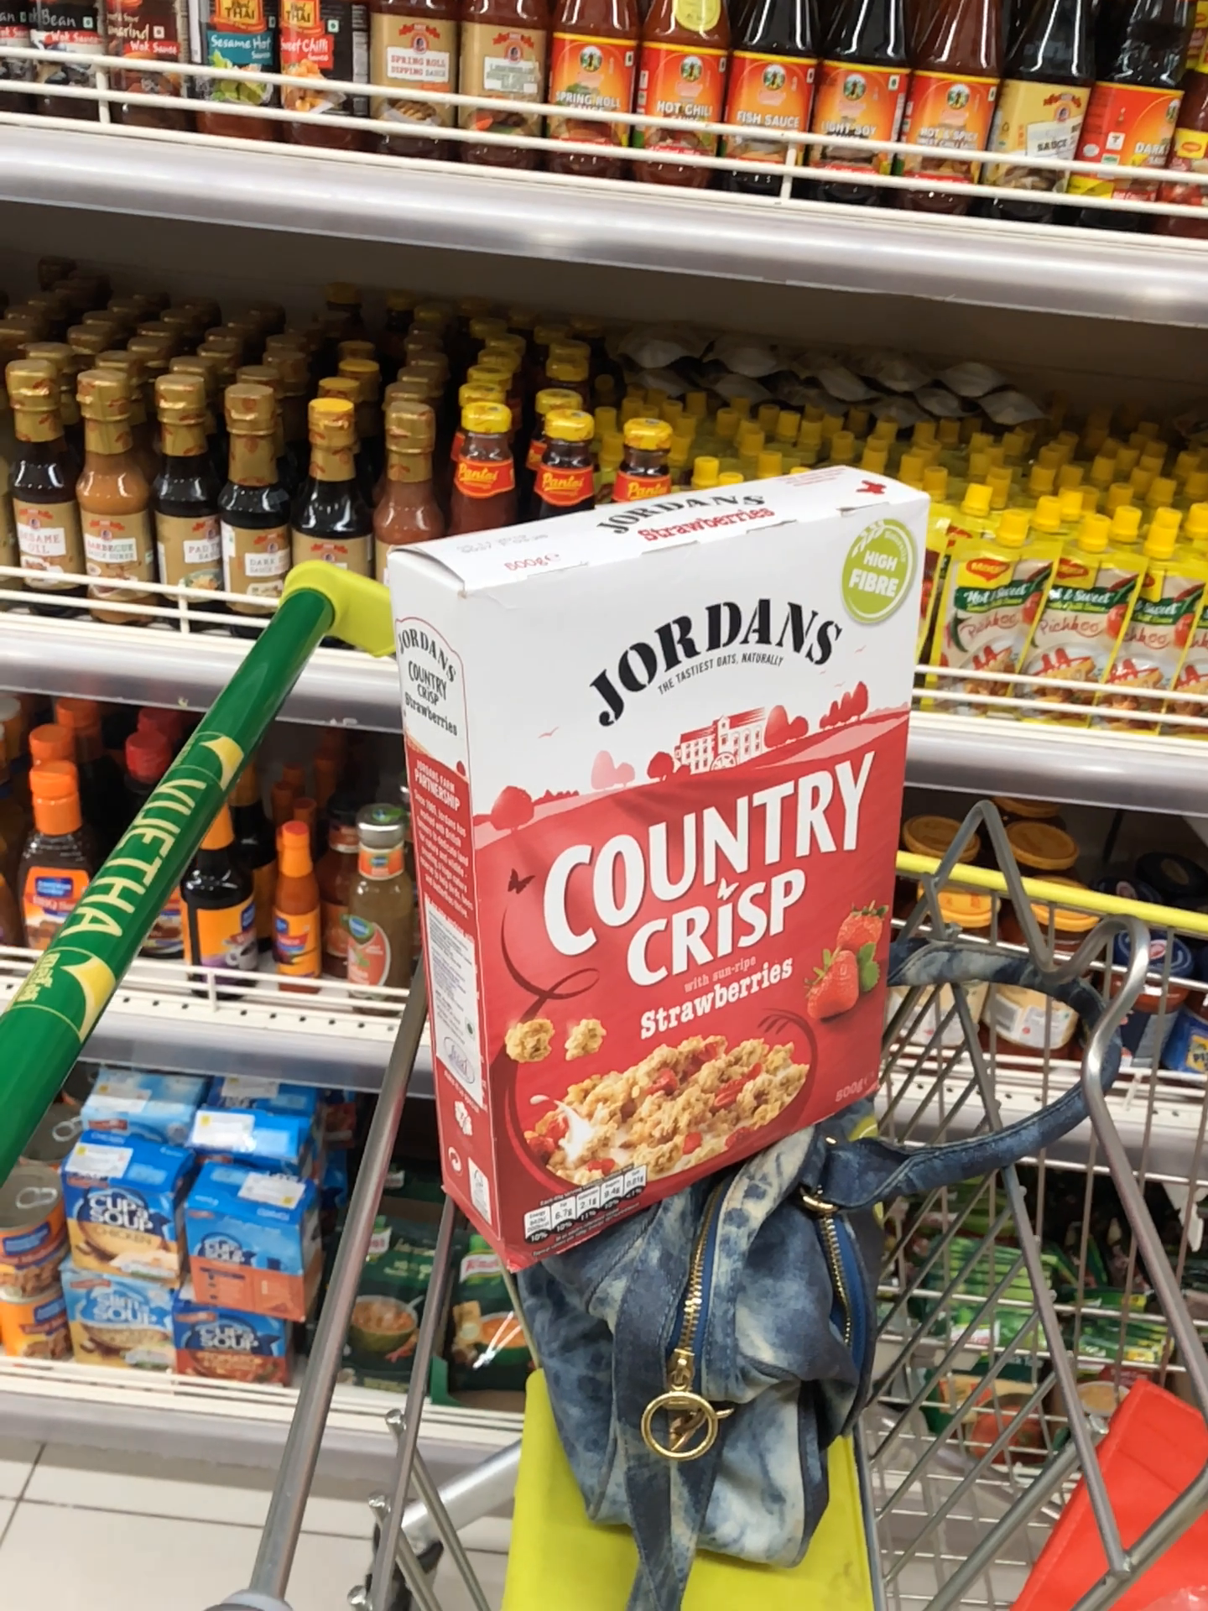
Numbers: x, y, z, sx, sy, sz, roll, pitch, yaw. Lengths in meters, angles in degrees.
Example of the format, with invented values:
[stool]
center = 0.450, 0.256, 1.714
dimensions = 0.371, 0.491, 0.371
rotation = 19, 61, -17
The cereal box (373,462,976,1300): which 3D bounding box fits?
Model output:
[cereal box]
center = 0.026, 0.022, 0.471
dimensions = 0.190, 0.249, 0.060
rotation = -17, 32, -31
